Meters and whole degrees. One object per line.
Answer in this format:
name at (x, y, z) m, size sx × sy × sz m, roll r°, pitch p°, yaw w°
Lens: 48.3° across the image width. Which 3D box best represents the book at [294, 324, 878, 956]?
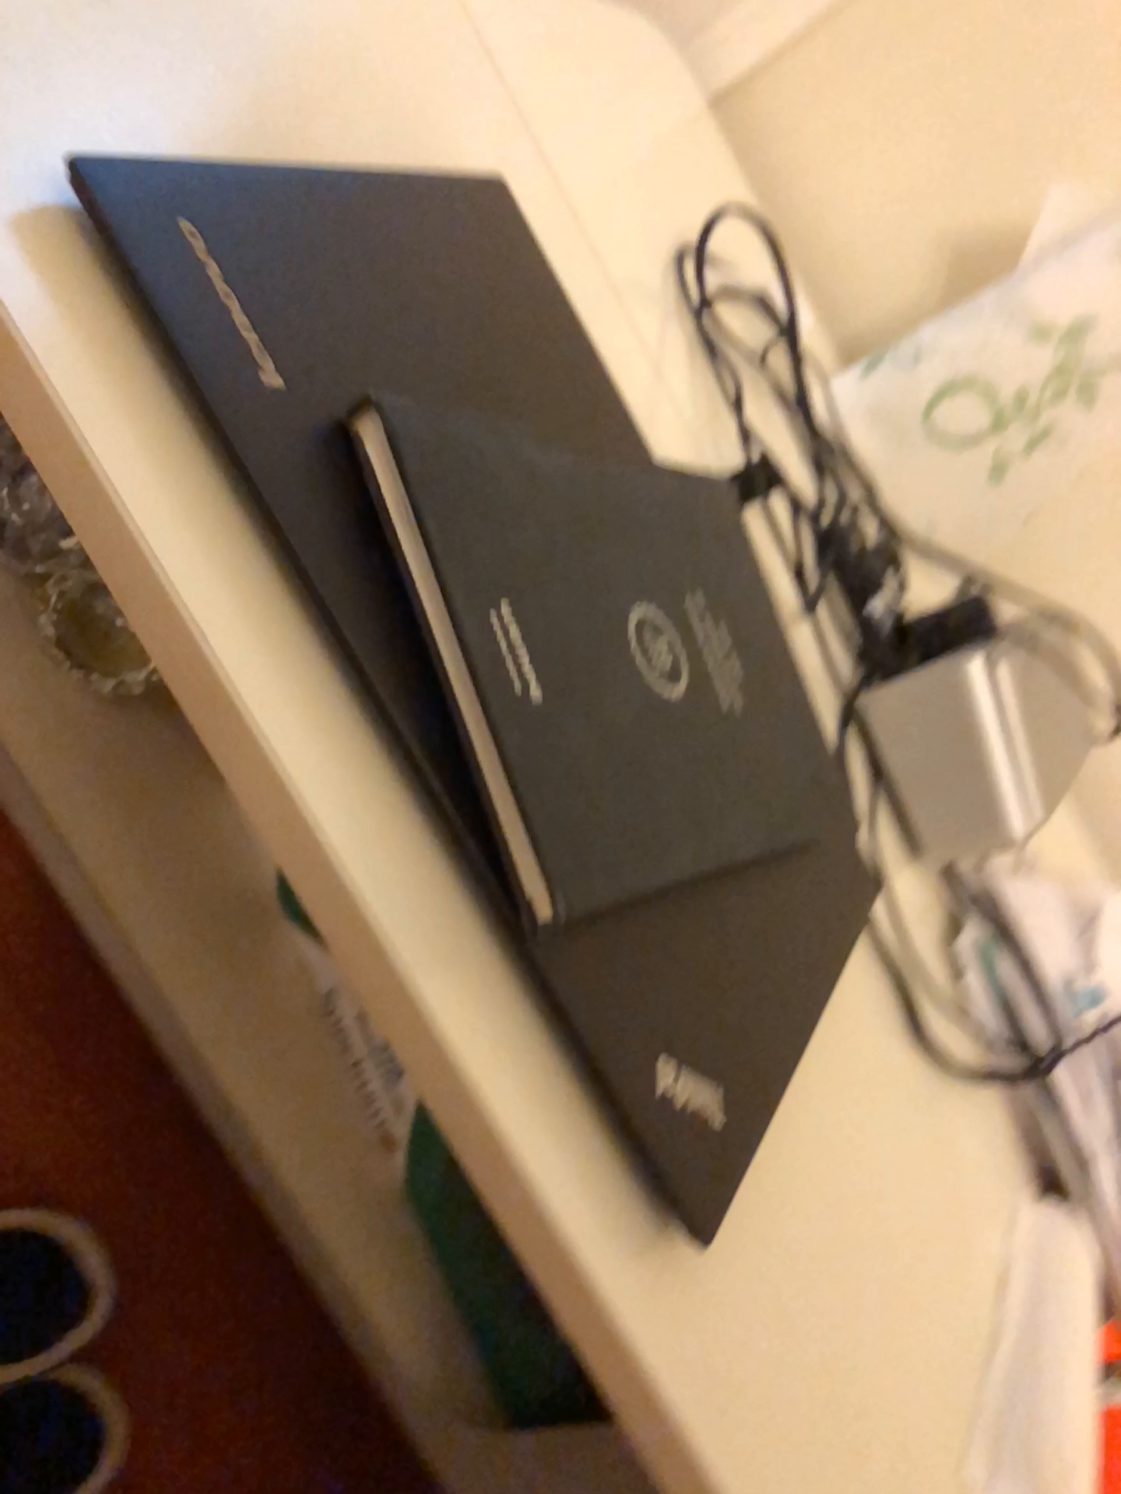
book at (0.026, -0.038, 0.425) m, size 0.221 × 0.030 × 0.170 m, roll -8°, pitch 75°, yaw -57°
